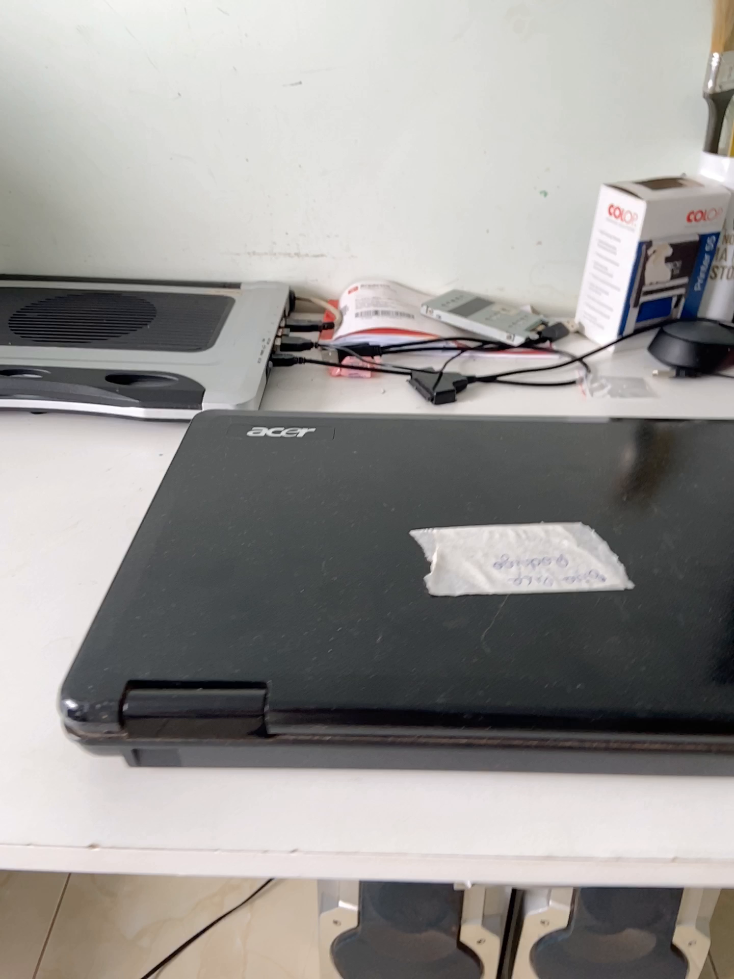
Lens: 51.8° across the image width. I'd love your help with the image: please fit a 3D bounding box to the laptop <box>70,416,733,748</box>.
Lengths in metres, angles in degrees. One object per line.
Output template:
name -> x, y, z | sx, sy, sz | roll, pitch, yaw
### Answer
laptop -> 0.074, 0.023, 0.373 | 0.356, 0.005, 0.240 | 1, 32, 1
